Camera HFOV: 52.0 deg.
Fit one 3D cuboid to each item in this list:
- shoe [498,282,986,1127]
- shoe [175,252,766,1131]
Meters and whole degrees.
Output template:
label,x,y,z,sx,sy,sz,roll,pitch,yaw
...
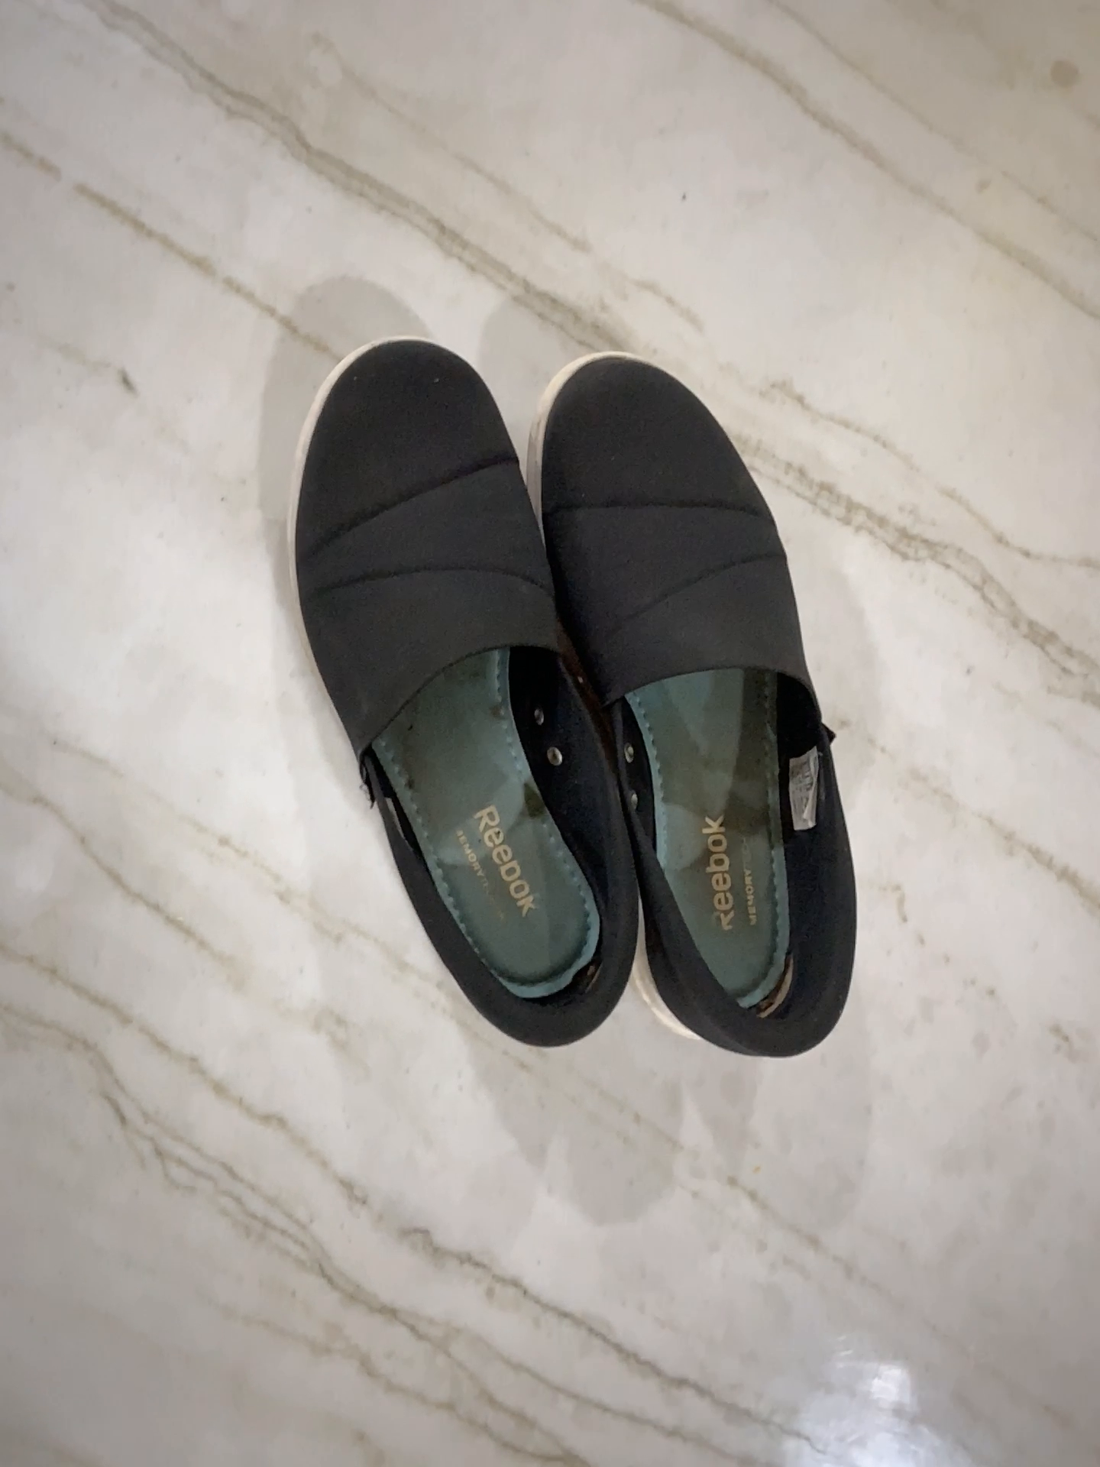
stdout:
label,x,y,z,sx,sy,sz,roll,pitch,yaw
shoe,0.054,-0.010,0.362,0.091,0.079,0.229,-12,88,-7
shoe,-0.025,-0.012,0.354,0.091,0.079,0.229,-20,89,-7
